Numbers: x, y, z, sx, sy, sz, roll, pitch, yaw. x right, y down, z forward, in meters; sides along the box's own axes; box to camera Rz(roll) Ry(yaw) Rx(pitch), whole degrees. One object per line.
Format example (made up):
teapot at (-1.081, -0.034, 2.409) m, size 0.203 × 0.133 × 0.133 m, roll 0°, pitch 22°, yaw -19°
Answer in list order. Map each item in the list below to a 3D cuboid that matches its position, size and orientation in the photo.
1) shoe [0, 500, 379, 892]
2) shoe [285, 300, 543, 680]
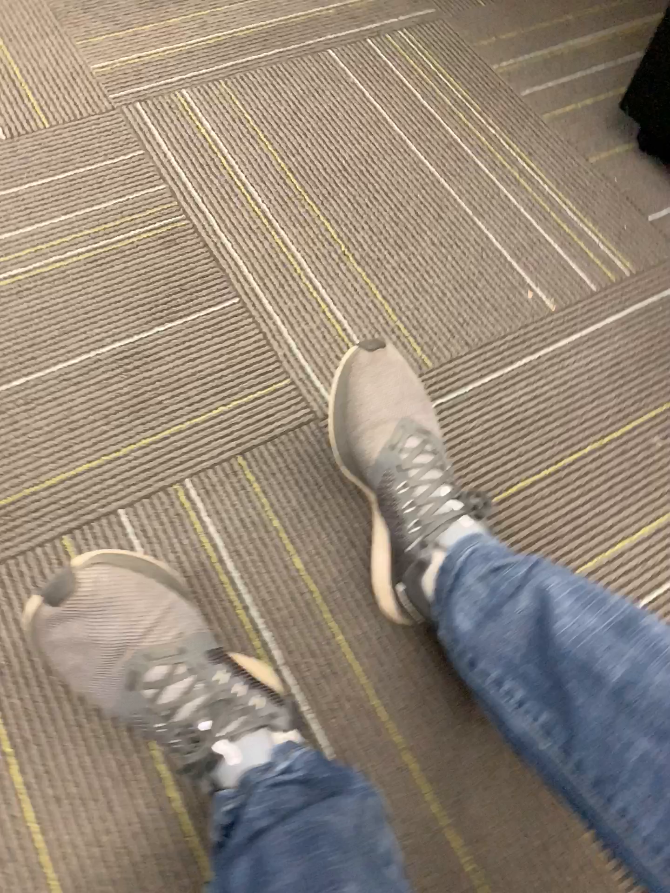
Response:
shoe at (-0.101, 0.194, 0.510) m, size 0.119 × 0.293 × 0.122 m, roll -45°, pitch 40°, yaw -16°
shoe at (0.071, 0.033, 0.622) m, size 0.119 × 0.122 × 0.294 m, roll -21°, pitch 103°, yaw -21°
